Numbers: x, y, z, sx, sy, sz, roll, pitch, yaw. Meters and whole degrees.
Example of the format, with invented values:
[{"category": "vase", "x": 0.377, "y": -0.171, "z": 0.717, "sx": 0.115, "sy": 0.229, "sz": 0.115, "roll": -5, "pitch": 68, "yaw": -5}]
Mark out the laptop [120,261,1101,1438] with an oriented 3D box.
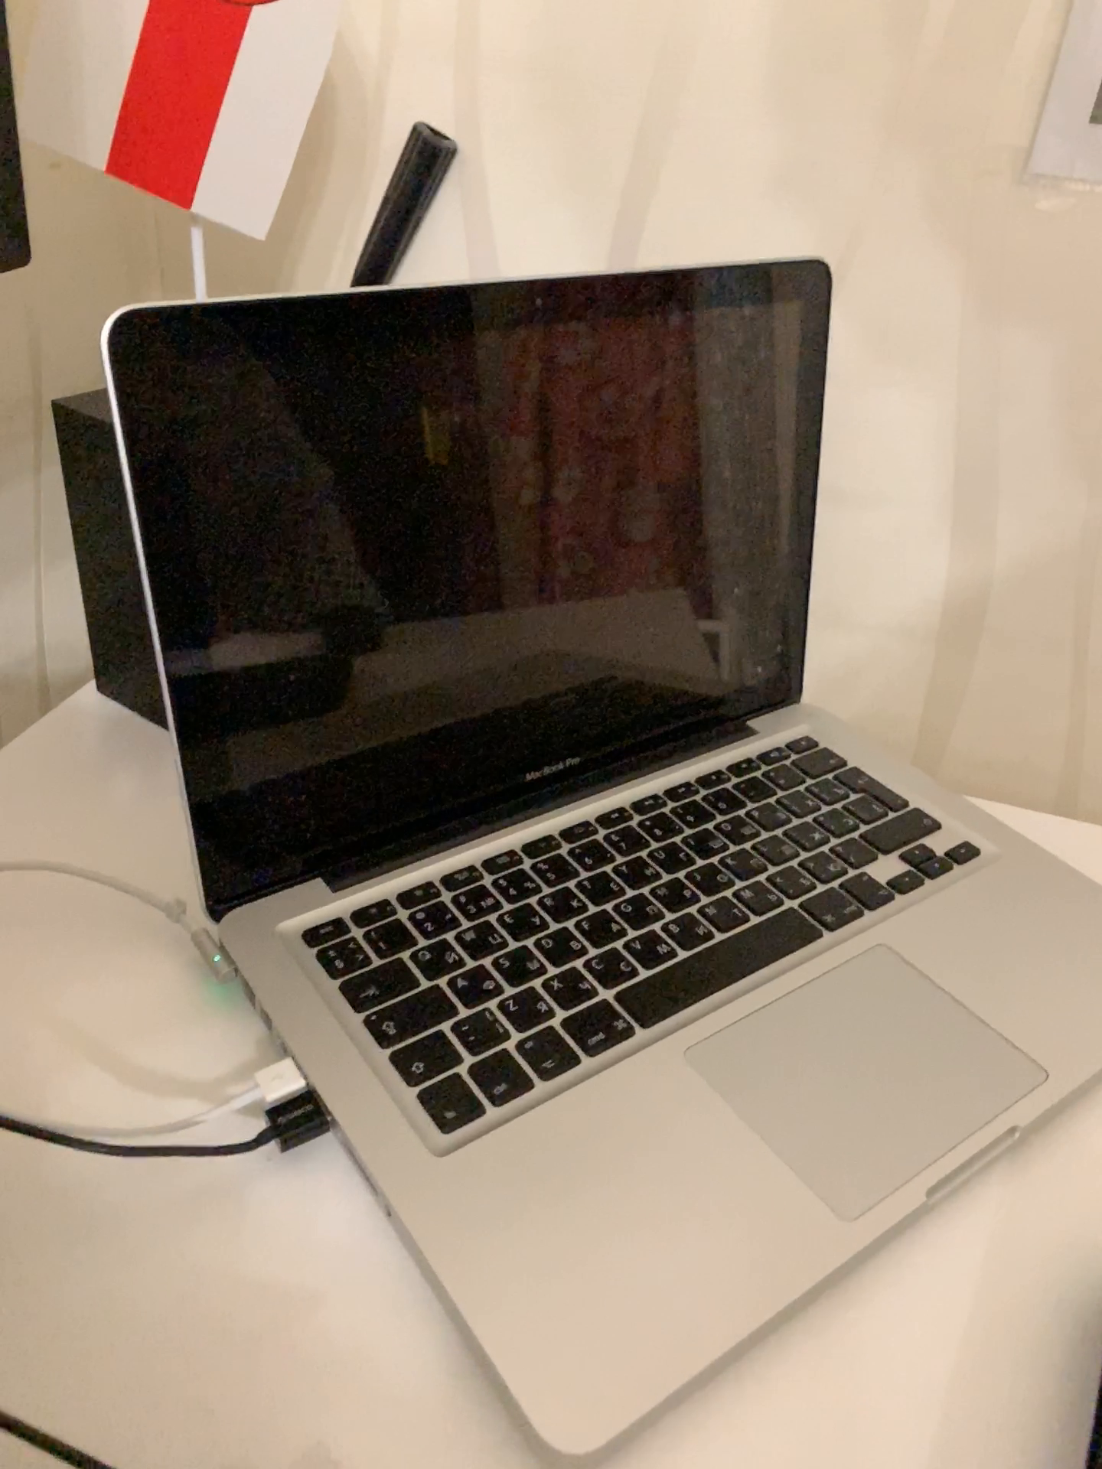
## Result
[{"category": "laptop", "x": 0.062, "y": -0.019, "z": 0.379, "sx": 0.301, "sy": 0.196, "sz": 0.250, "roll": -19, "pitch": 40, "yaw": -32}]
